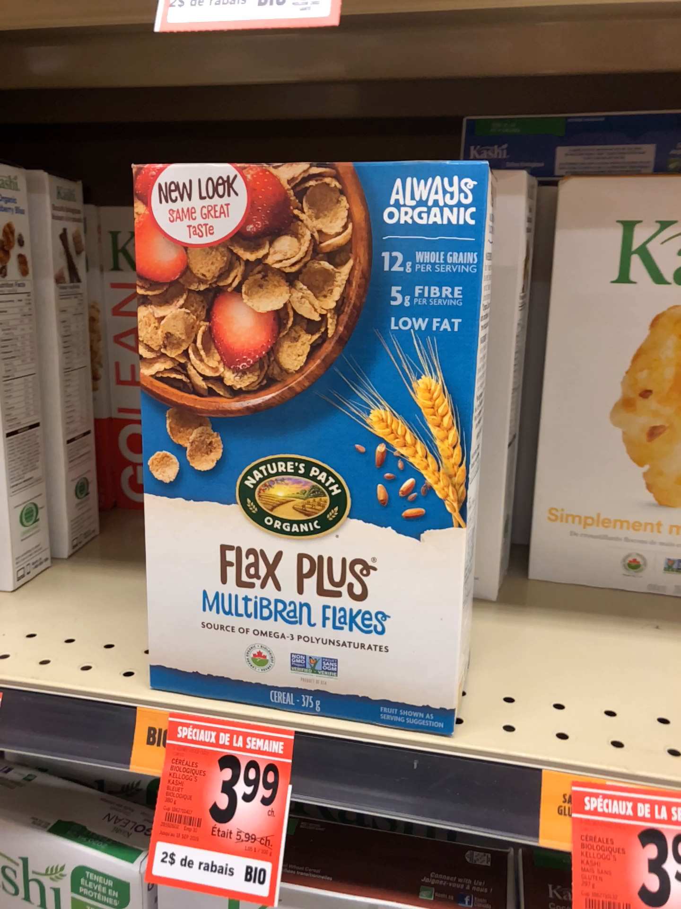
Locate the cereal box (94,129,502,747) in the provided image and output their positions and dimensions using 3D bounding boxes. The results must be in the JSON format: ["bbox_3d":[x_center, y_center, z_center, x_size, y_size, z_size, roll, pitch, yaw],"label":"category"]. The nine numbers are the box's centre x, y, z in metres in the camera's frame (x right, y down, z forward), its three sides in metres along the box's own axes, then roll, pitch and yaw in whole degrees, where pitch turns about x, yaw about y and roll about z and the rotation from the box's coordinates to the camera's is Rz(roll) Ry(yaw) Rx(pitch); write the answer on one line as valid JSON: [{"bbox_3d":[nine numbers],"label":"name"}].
[{"bbox_3d":[-0.018,-0.009,0.372,0.170,0.269,0.070,5,15,14],"label":"cereal box"}]
